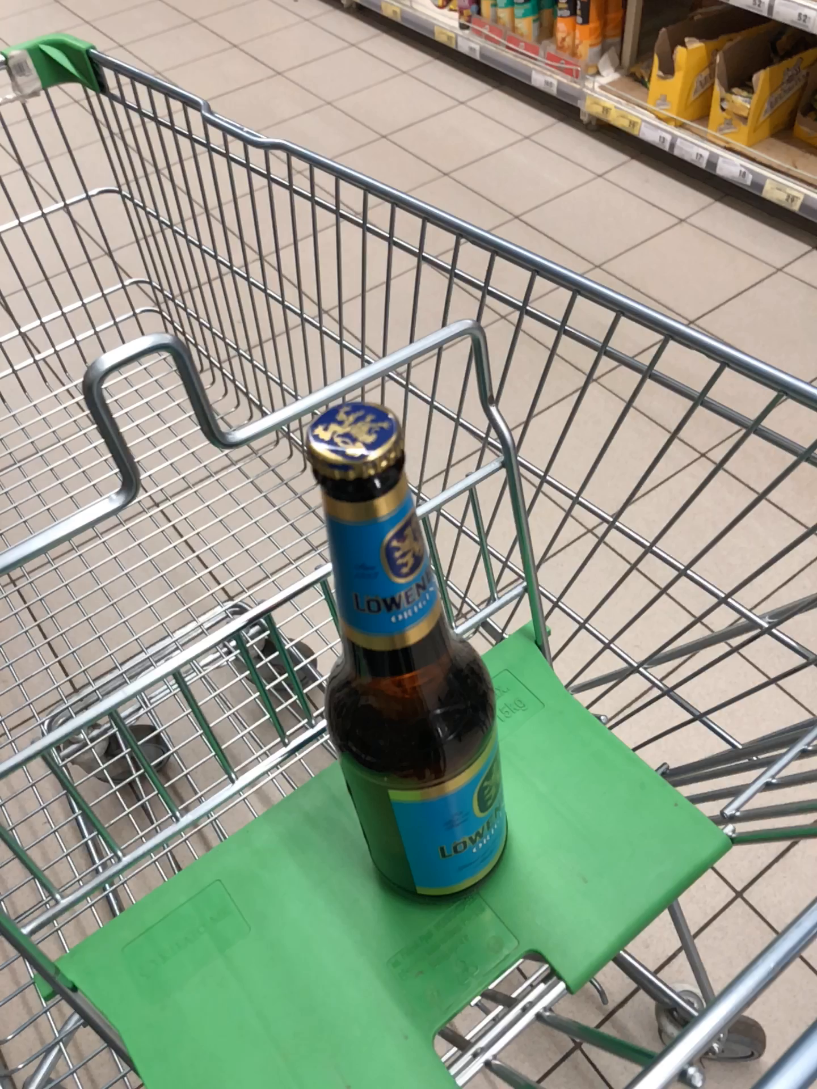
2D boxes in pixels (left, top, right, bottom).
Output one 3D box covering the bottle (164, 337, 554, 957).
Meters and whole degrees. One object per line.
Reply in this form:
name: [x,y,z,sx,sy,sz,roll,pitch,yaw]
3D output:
bottle: [0.003,0.057,0.331,0.070,0.249,0.080,21,55,25]
